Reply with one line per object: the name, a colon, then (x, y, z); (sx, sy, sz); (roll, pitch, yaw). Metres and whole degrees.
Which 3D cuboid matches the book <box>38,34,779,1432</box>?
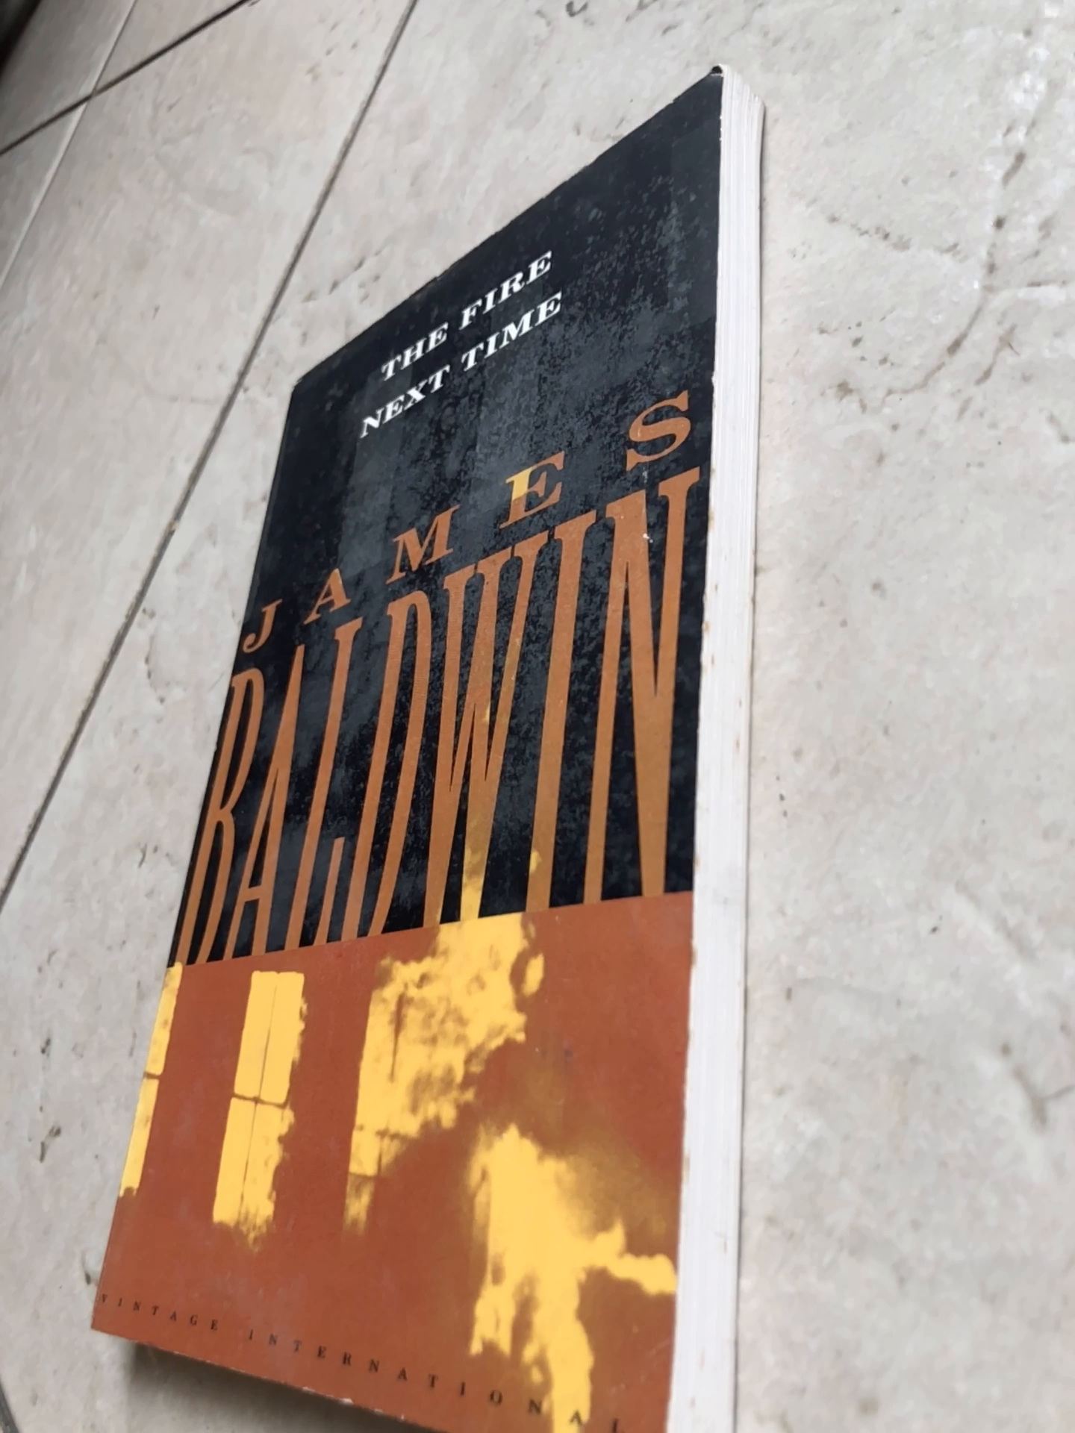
book: (-0.022, 0.001, 0.199); (0.131, 0.016, 0.200); (-17, 57, 43)
